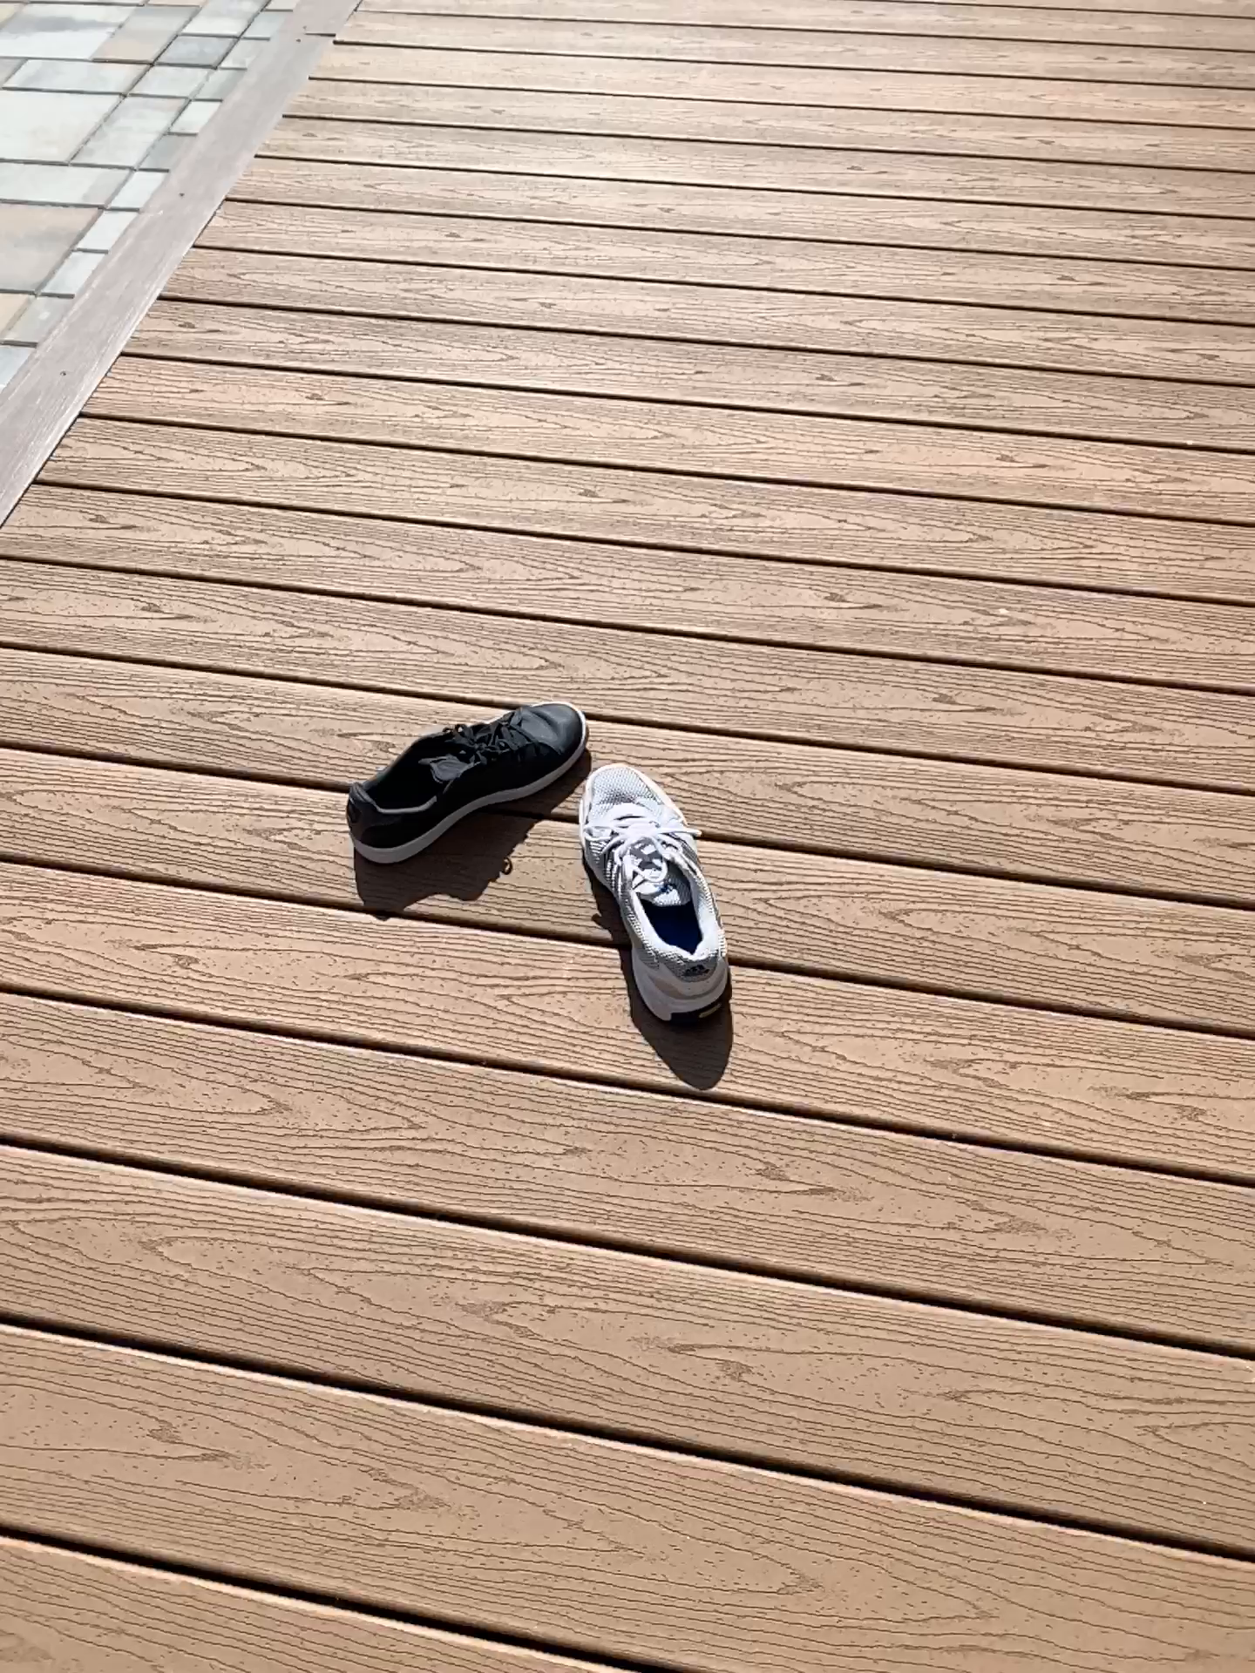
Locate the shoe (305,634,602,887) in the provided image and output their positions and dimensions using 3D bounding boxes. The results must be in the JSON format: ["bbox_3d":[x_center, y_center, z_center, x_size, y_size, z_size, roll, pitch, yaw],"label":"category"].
[{"bbox_3d":[-0.166,-0.078,1.263,0.260,0.100,0.110,-30,58,-19],"label":"shoe"}]

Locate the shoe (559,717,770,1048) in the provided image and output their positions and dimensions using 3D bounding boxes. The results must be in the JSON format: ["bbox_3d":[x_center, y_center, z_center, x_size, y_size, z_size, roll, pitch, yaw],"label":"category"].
[{"bbox_3d":[0.029,0.038,1.189,0.110,0.120,0.271,-15,54,-9],"label":"shoe"}]
